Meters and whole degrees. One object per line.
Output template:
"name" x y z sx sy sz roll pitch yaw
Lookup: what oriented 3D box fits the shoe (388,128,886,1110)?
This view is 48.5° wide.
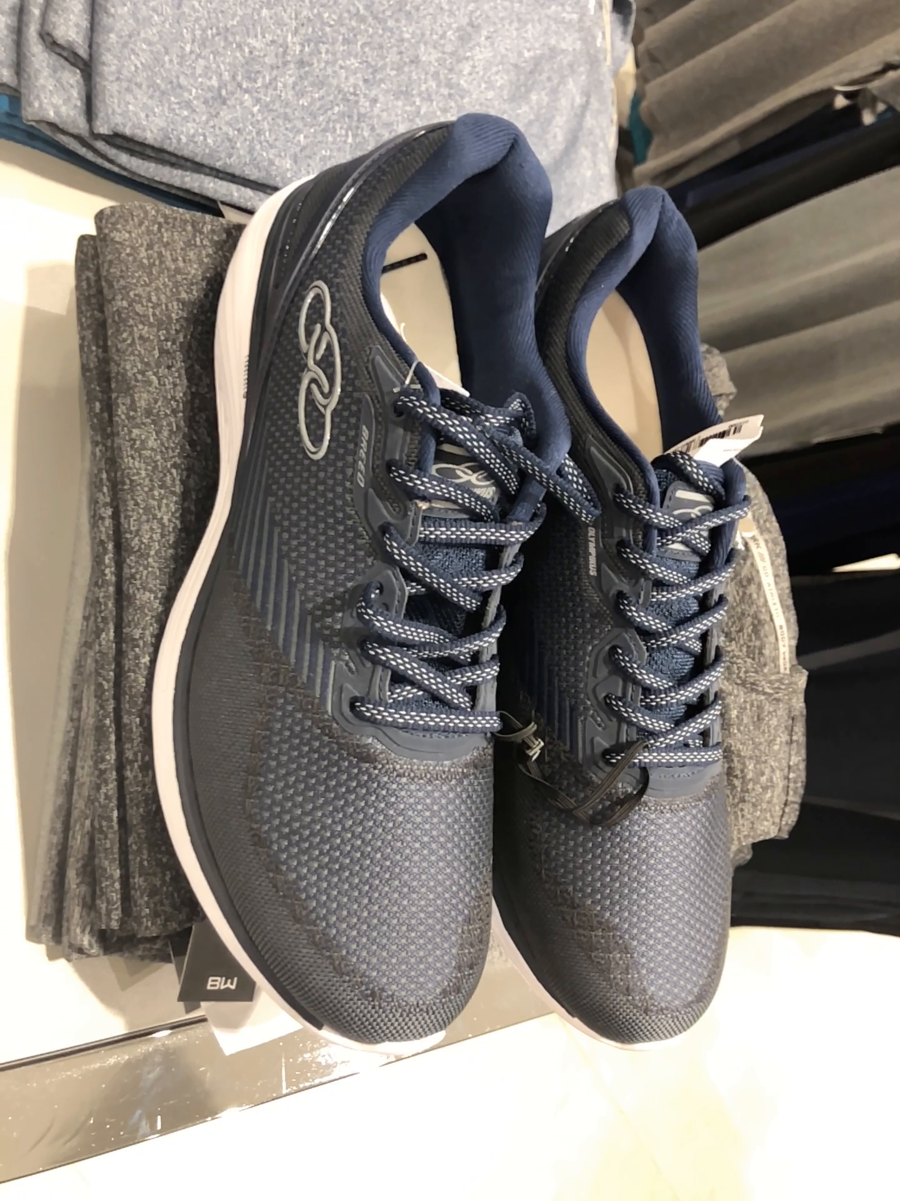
"shoe" 0.057 0.005 0.376 0.120 0.129 0.290 1 83 -21

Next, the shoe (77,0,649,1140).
"shoe" -0.026 -0.013 0.324 0.121 0.129 0.290 9 78 -35
